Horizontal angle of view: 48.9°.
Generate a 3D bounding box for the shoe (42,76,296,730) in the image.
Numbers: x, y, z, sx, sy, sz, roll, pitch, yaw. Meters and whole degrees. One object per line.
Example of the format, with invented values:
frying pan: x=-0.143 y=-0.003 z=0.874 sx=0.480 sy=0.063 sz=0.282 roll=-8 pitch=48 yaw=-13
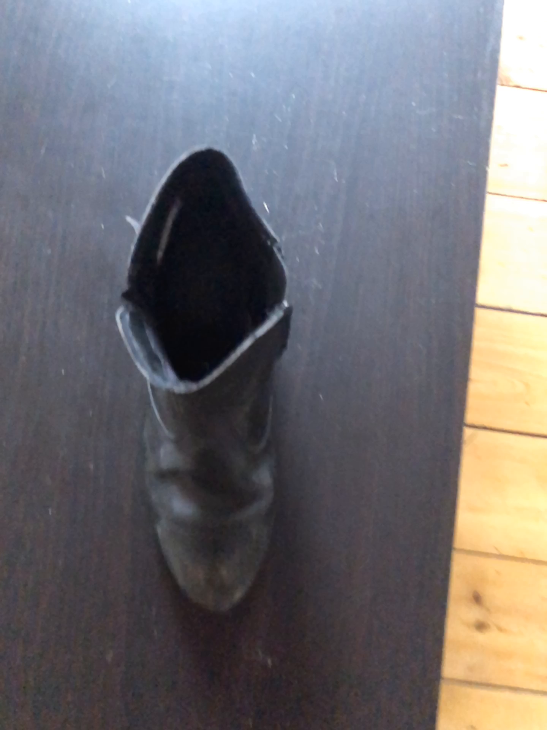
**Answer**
shoe: x=-0.041 y=0.018 z=0.335 sx=0.090 sy=0.170 sz=0.270 roll=2 pitch=84 yaw=0
